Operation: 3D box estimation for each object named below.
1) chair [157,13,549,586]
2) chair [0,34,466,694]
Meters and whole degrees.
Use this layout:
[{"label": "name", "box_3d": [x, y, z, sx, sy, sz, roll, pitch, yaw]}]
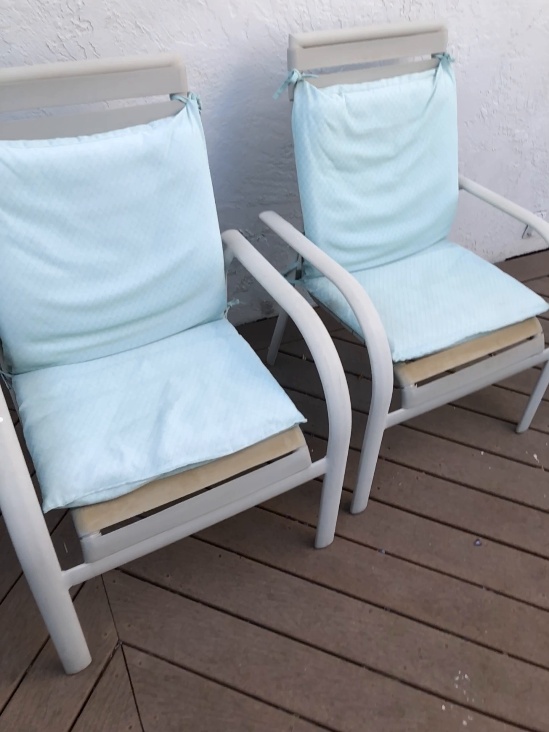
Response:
[{"label": "chair", "box_3d": [0.244, -0.188, 1.796, 0.841, 1.273, 0.873, -18, 50, -23]}, {"label": "chair", "box_3d": [-0.265, -0.022, 1.266, 0.701, 0.965, 0.783, -18, 50, -23]}]
